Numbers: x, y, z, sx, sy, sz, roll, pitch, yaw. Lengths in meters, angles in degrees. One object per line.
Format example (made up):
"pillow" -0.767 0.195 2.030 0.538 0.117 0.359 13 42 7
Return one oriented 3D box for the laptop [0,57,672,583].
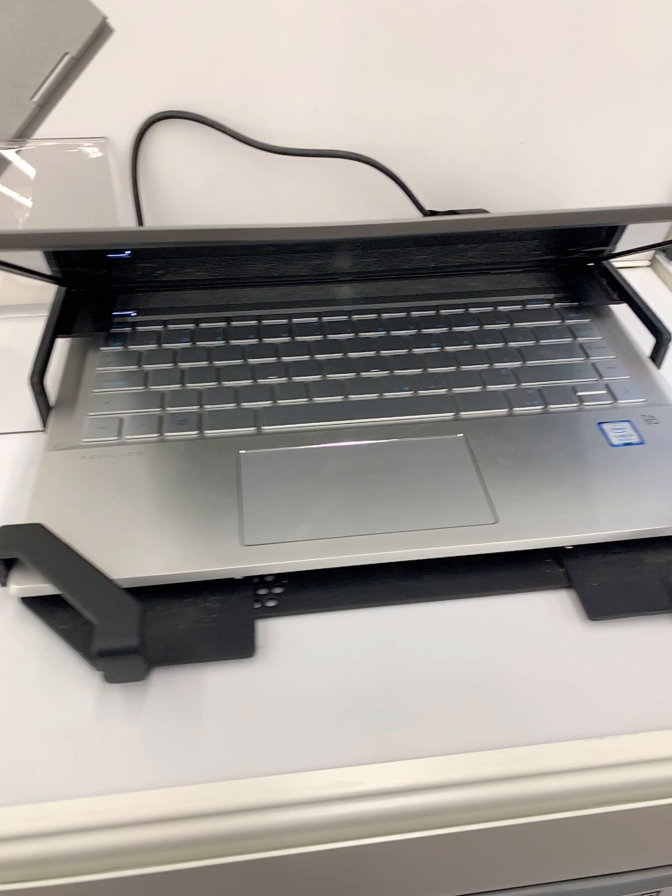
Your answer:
"laptop" 0.011 -0.069 0.292 0.283 0.111 0.194 -4 44 -4
